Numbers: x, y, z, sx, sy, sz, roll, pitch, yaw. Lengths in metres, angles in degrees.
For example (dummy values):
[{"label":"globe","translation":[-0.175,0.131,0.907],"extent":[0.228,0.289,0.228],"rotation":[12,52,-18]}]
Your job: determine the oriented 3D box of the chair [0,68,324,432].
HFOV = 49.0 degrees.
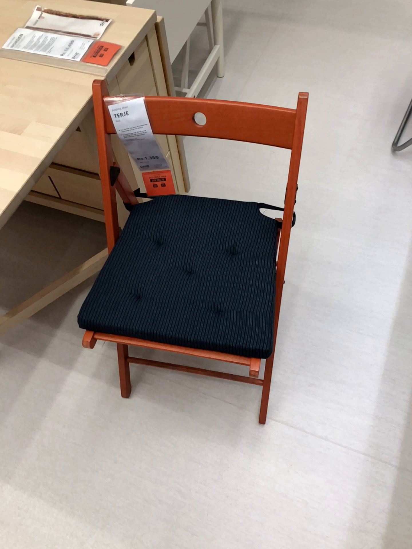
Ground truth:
[{"label":"chair","translation":[-0.028,-0.003,1.091],"extent":[0.470,0.717,0.502],"rotation":[9,60,11]}]
